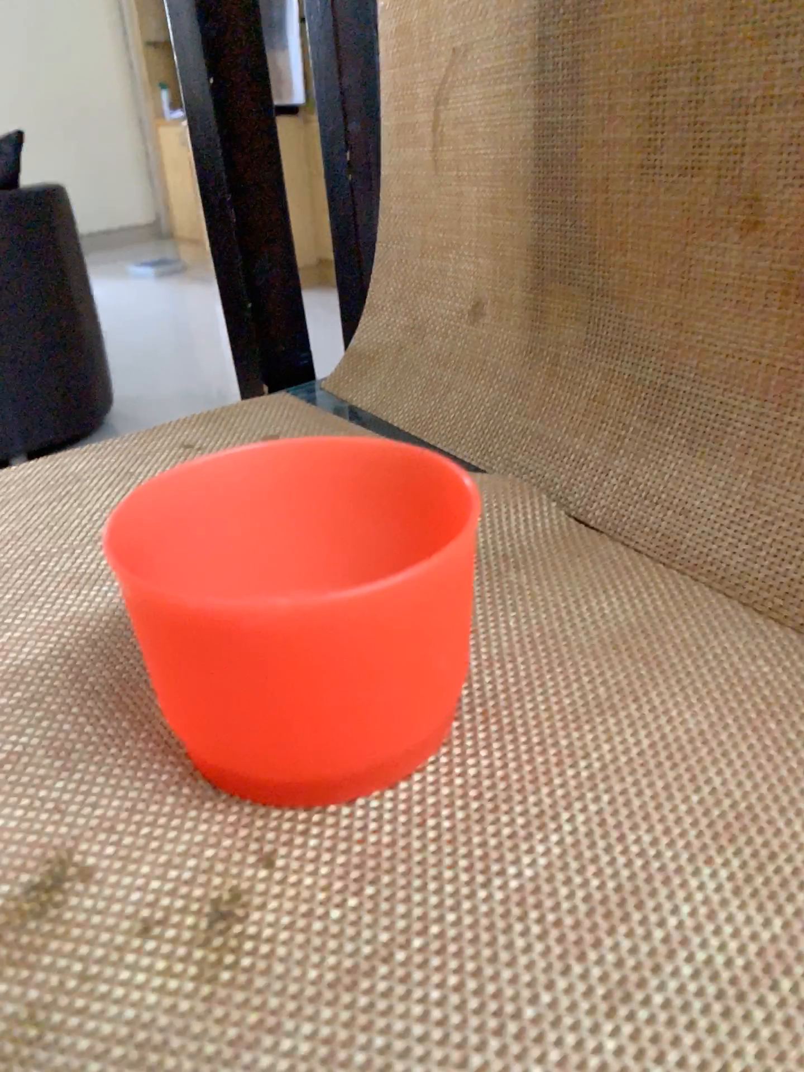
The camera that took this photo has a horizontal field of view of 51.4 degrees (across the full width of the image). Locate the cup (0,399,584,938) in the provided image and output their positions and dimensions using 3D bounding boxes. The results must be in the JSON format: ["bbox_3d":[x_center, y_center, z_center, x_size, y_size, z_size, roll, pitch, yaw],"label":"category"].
[{"bbox_3d":[-0.021,0.015,0.171,0.078,0.050,0.082,-3,28,2],"label":"cup"}]
